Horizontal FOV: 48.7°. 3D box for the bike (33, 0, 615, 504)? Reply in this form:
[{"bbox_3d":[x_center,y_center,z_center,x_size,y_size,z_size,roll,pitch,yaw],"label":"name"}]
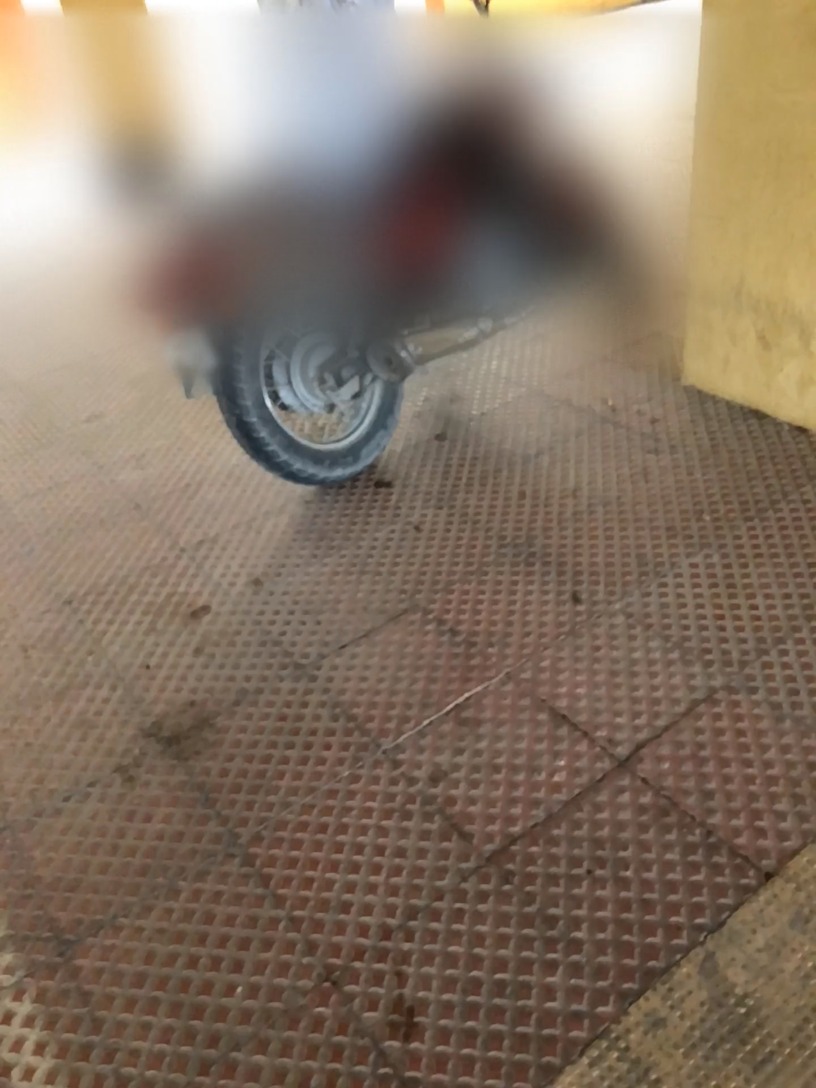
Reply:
[{"bbox_3d":[-0.050,-1.173,2.475,0.756,1.049,1.657,13,45,28],"label":"bike"}]
